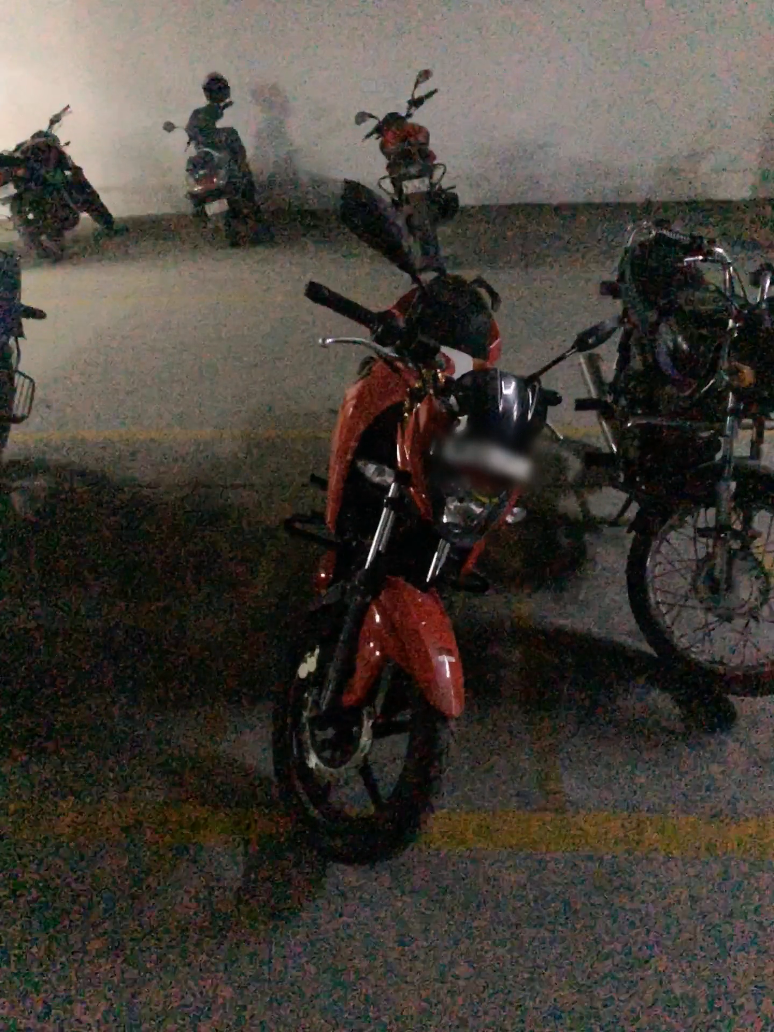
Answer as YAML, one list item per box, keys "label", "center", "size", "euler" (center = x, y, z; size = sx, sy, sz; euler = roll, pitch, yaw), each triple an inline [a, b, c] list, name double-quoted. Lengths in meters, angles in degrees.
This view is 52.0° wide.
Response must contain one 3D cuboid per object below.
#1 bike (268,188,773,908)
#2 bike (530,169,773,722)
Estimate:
- label: "bike"
  center: [0.204, -0.108, 2.103]
  size: [0.801, 1.006, 1.702]
  euler: [-2, 34, -1]
- label: "bike"
  center: [0.935, -0.351, 2.310]
  size: [0.673, 0.934, 1.574]
  euler: [-2, 33, -1]
